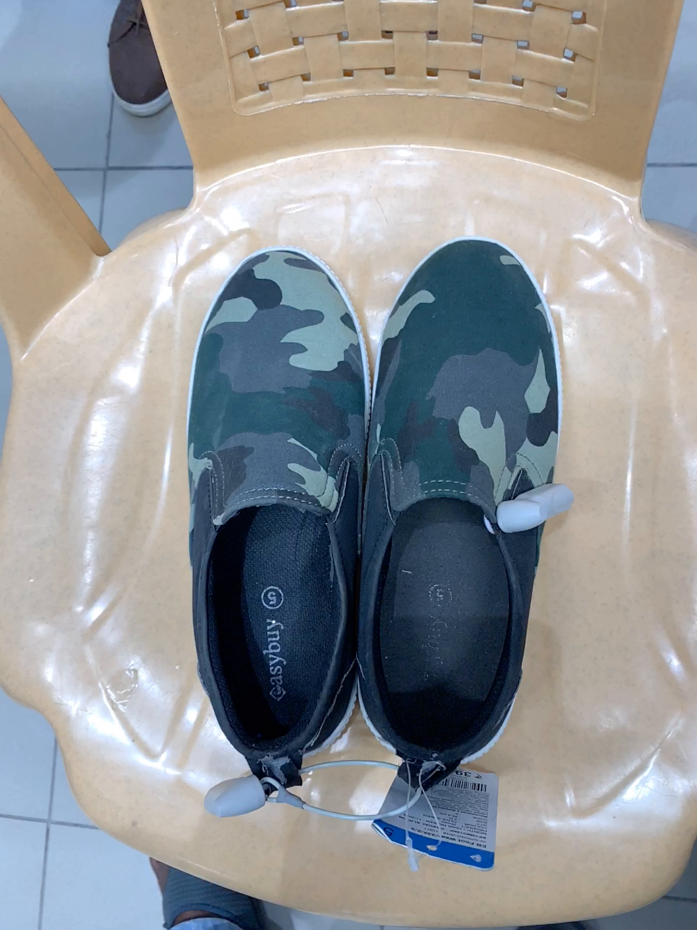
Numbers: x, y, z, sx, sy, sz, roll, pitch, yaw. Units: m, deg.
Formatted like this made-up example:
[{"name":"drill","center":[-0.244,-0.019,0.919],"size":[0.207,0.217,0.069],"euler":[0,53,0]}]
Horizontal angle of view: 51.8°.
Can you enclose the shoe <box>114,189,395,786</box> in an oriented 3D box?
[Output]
[{"name":"shoe","center":[-0.036,0.011,0.321],"size":[0.090,0.100,0.220],"euler":[-4,85,8]}]

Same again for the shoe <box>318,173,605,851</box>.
[{"name":"shoe","center":[0.050,0.014,0.309],"size":[0.090,0.100,0.240],"euler":[3,82,9]}]
